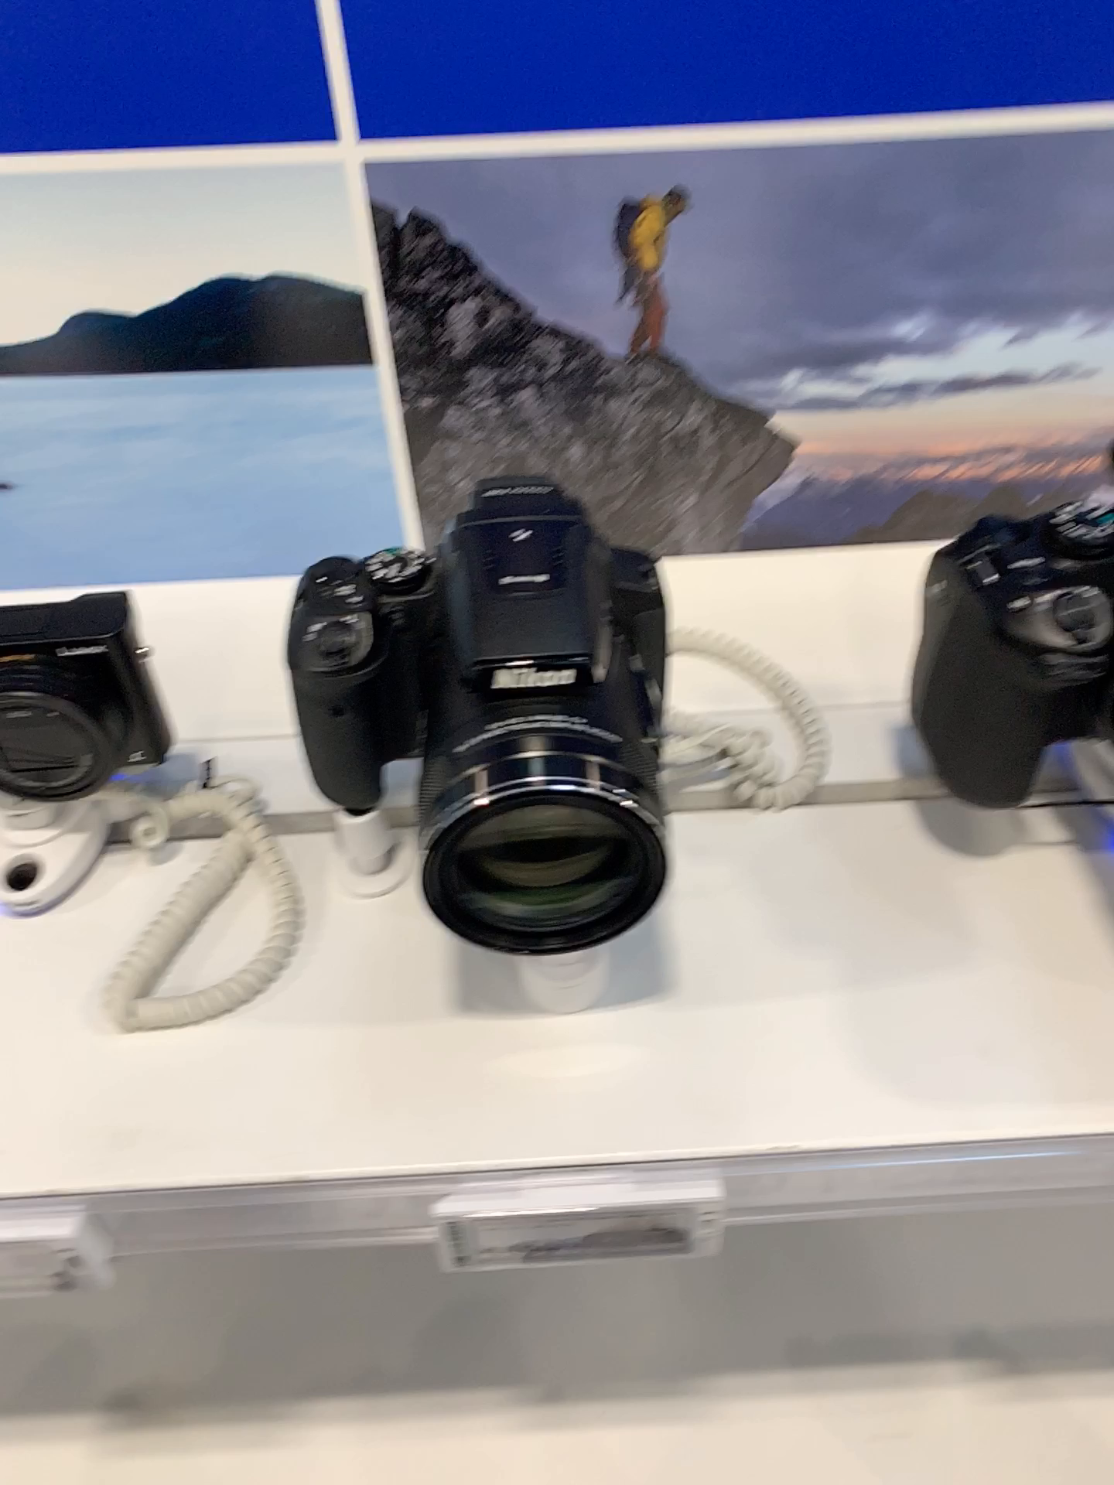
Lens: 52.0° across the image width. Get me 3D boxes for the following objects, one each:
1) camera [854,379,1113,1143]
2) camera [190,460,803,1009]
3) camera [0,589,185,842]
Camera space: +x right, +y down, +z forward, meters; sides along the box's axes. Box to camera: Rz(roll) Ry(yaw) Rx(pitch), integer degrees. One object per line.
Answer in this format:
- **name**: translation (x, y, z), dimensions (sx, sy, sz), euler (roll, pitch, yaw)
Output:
- **camera**: translation (0.210, -0.009, 0.366), dimensions (0.160, 0.110, 0.221), euler (-5, 43, -1)
- **camera**: translation (-0.017, -0.008, 0.387), dimensions (0.160, 0.100, 0.151), euler (-4, 43, 0)
- **camera**: translation (-0.205, -0.009, 0.418), dimensions (0.110, 0.070, 0.050), euler (-4, 43, 0)
